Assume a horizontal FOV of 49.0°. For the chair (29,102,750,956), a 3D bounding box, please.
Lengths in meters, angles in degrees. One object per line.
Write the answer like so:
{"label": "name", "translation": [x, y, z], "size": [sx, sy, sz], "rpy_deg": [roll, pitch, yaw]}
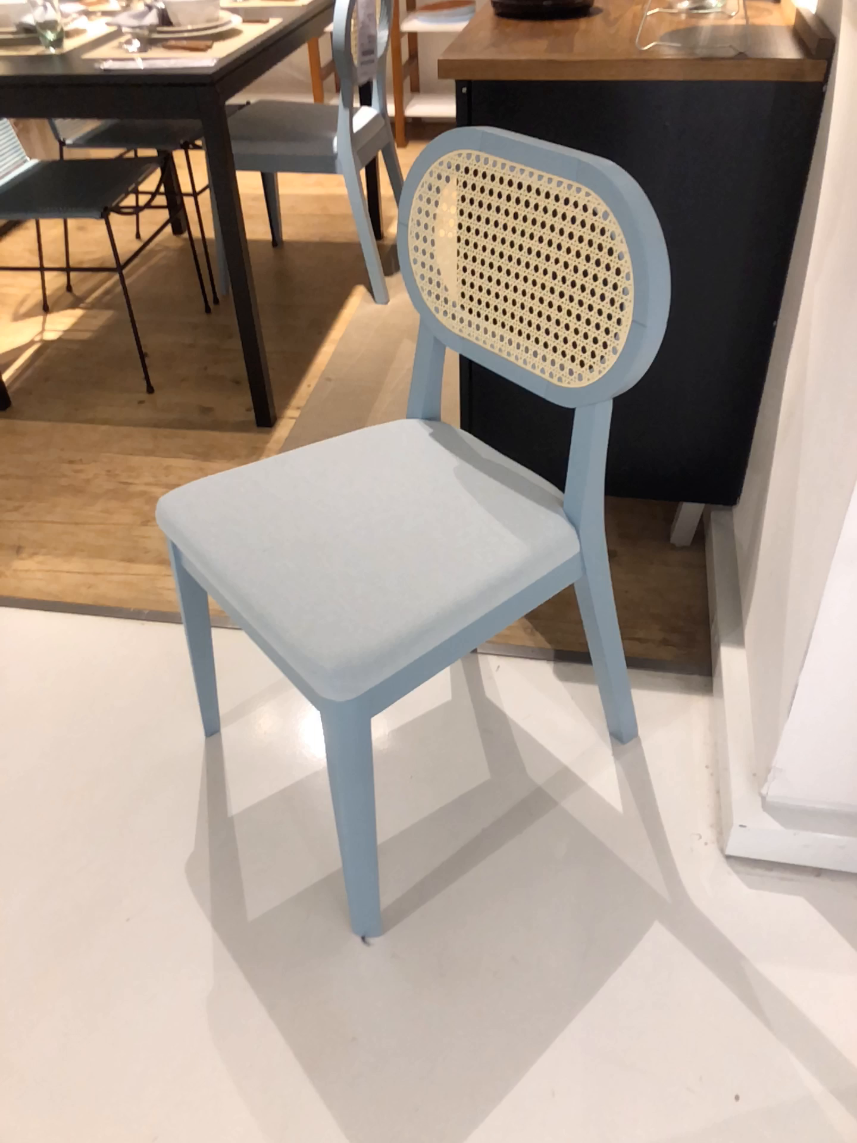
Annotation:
{"label": "chair", "translation": [-0.035, -0.066, 1.212], "size": [0.561, 0.823, 0.483], "rpy_deg": [-26, 44, -26]}
